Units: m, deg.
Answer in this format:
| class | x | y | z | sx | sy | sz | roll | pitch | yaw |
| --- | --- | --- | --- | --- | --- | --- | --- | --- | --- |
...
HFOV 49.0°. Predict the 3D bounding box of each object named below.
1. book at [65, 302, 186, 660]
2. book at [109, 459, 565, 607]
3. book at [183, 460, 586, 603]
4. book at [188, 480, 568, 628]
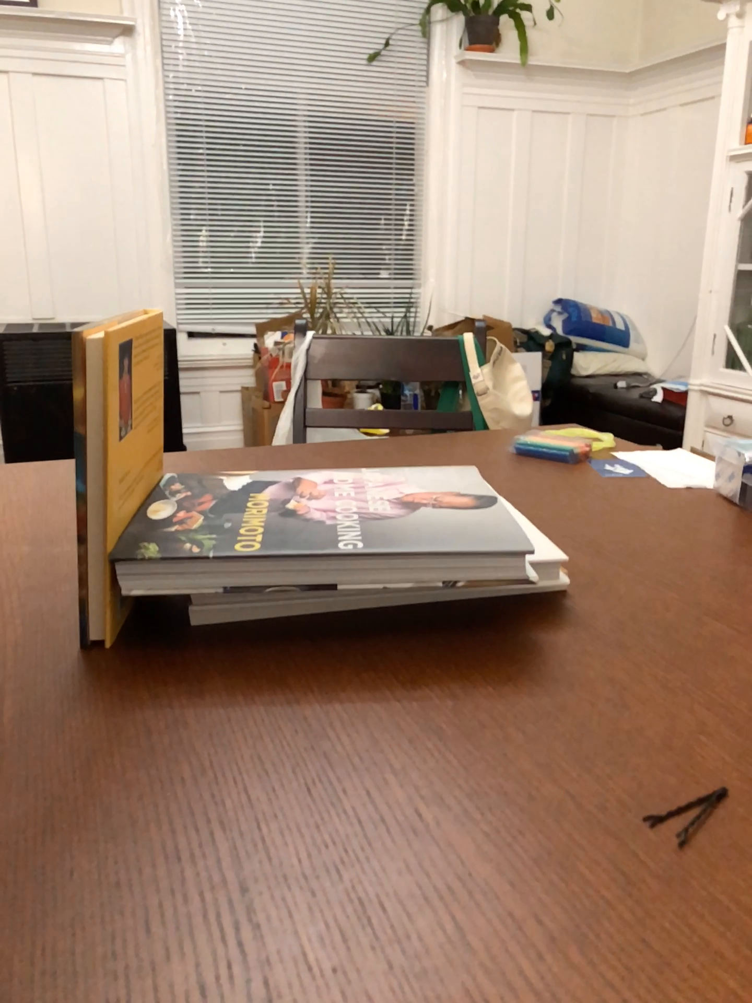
| class | x | y | z | sx | sy | sz | roll | pitch | yaw |
| --- | --- | --- | --- | --- | --- | --- | --- | --- | --- |
| book | -0.172 | -0.030 | 0.600 | 0.030 | 0.209 | 0.211 | 2 | 17 | -4 |
| book | -0.031 | 0.013 | 0.616 | 0.280 | 0.030 | 0.221 | -2 | 16 | -5 |
| book | -0.008 | 0.014 | 0.671 | 0.280 | 0.030 | 0.221 | -4 | 16 | -10 |
| book | -0.015 | 0.033 | 0.703 | 0.280 | 0.030 | 0.221 | -5 | 17 | -12 |
